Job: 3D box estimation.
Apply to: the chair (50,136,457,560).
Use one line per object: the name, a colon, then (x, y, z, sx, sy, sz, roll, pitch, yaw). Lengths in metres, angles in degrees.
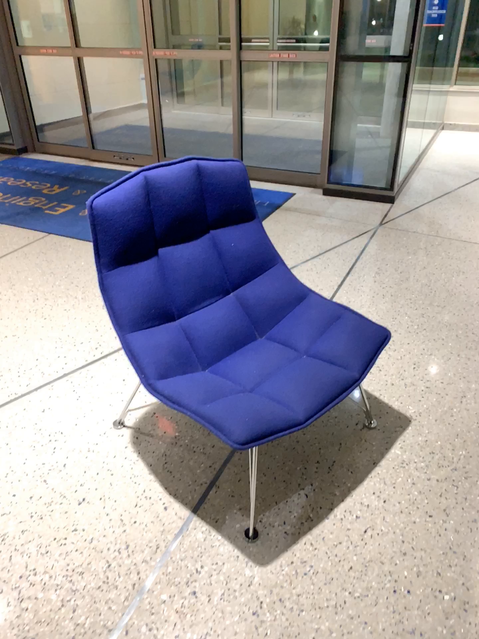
chair: (0.051, -0.022, 1.635, 0.858, 0.893, 0.798, -27, 40, -36)
